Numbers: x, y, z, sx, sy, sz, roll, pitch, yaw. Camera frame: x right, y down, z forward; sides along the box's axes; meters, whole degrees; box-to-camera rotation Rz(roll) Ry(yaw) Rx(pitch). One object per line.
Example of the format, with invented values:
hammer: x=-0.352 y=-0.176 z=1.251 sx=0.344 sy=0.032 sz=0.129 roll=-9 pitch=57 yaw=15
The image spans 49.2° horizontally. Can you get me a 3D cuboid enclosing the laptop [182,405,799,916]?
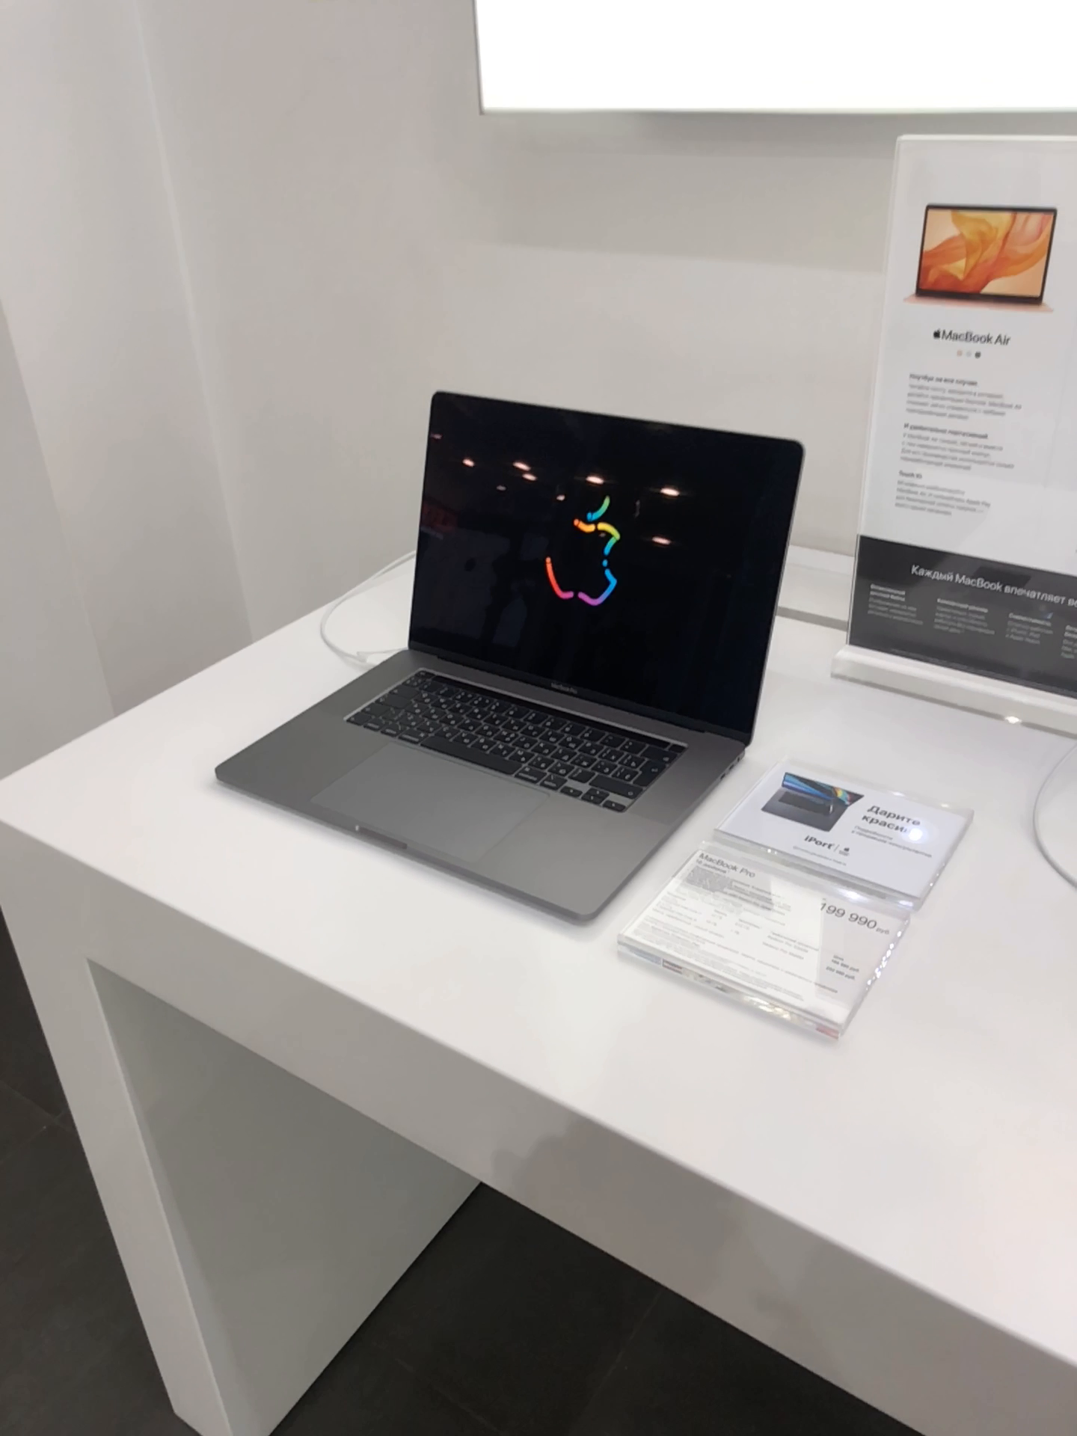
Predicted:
laptop: x=-0.022 y=-0.074 z=0.897 sx=0.328 sy=0.209 sz=0.310 roll=16 pitch=36 yaw=30
